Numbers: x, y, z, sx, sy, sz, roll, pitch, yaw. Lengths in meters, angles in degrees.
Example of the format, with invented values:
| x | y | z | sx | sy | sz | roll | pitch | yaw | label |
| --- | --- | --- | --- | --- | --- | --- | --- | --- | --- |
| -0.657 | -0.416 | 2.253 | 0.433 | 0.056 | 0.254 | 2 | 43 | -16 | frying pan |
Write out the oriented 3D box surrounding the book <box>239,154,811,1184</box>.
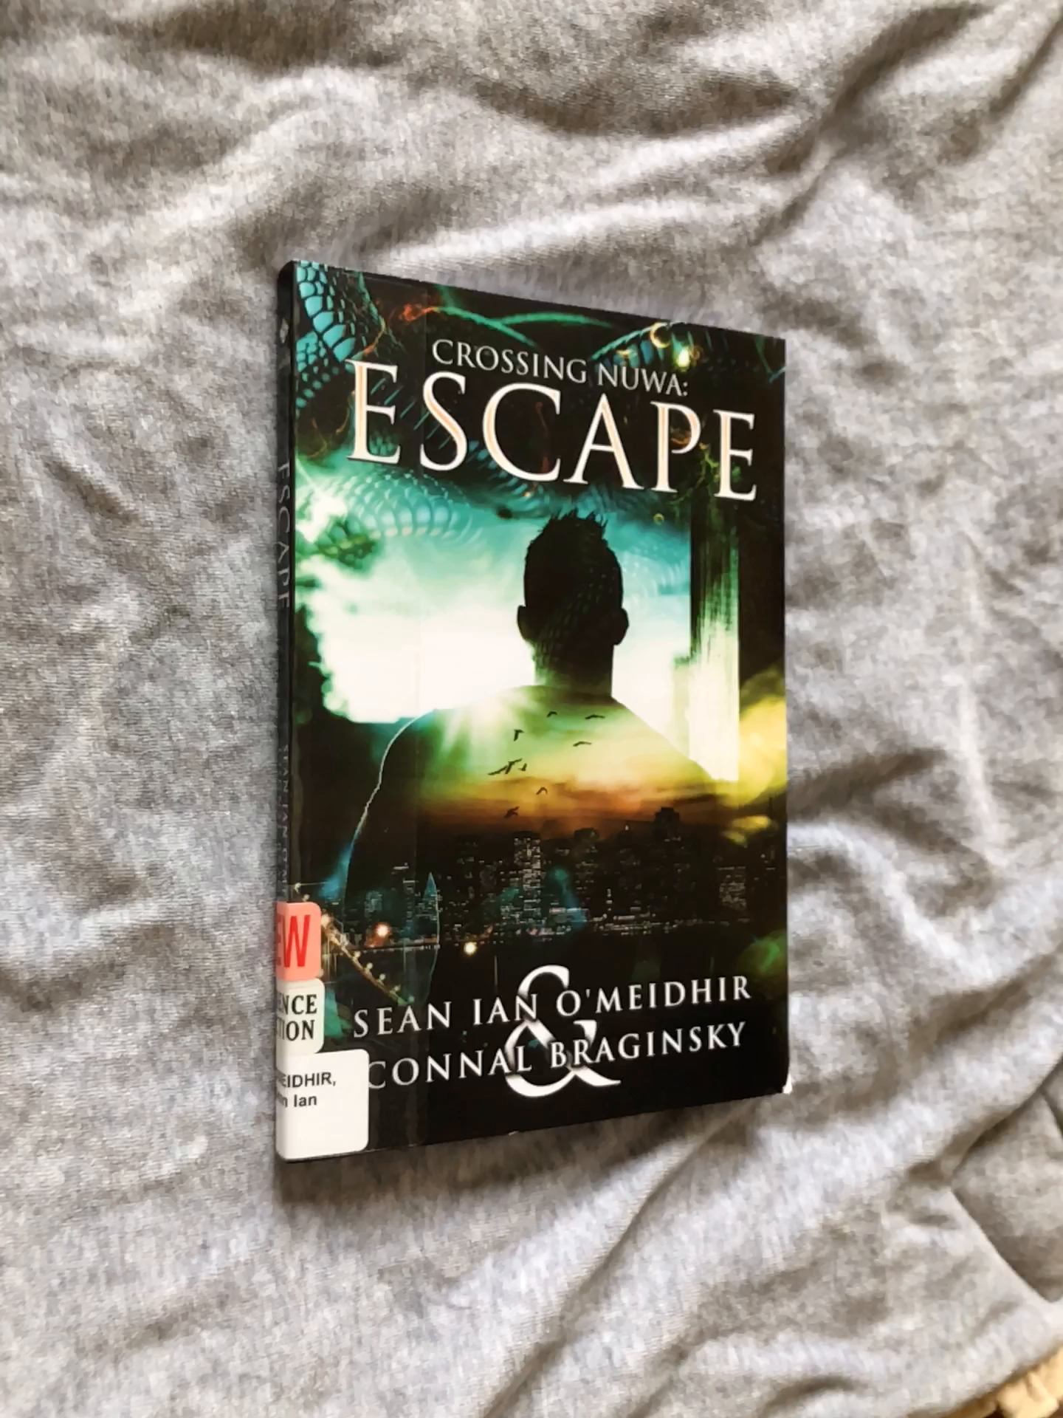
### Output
| x | y | z | sx | sy | sz | roll | pitch | yaw | label |
| --- | --- | --- | --- | --- | --- | --- | --- | --- | --- |
| 0.003 | -0.010 | 0.334 | 0.161 | 0.030 | 0.250 | 1 | 88 | -24 | book |
